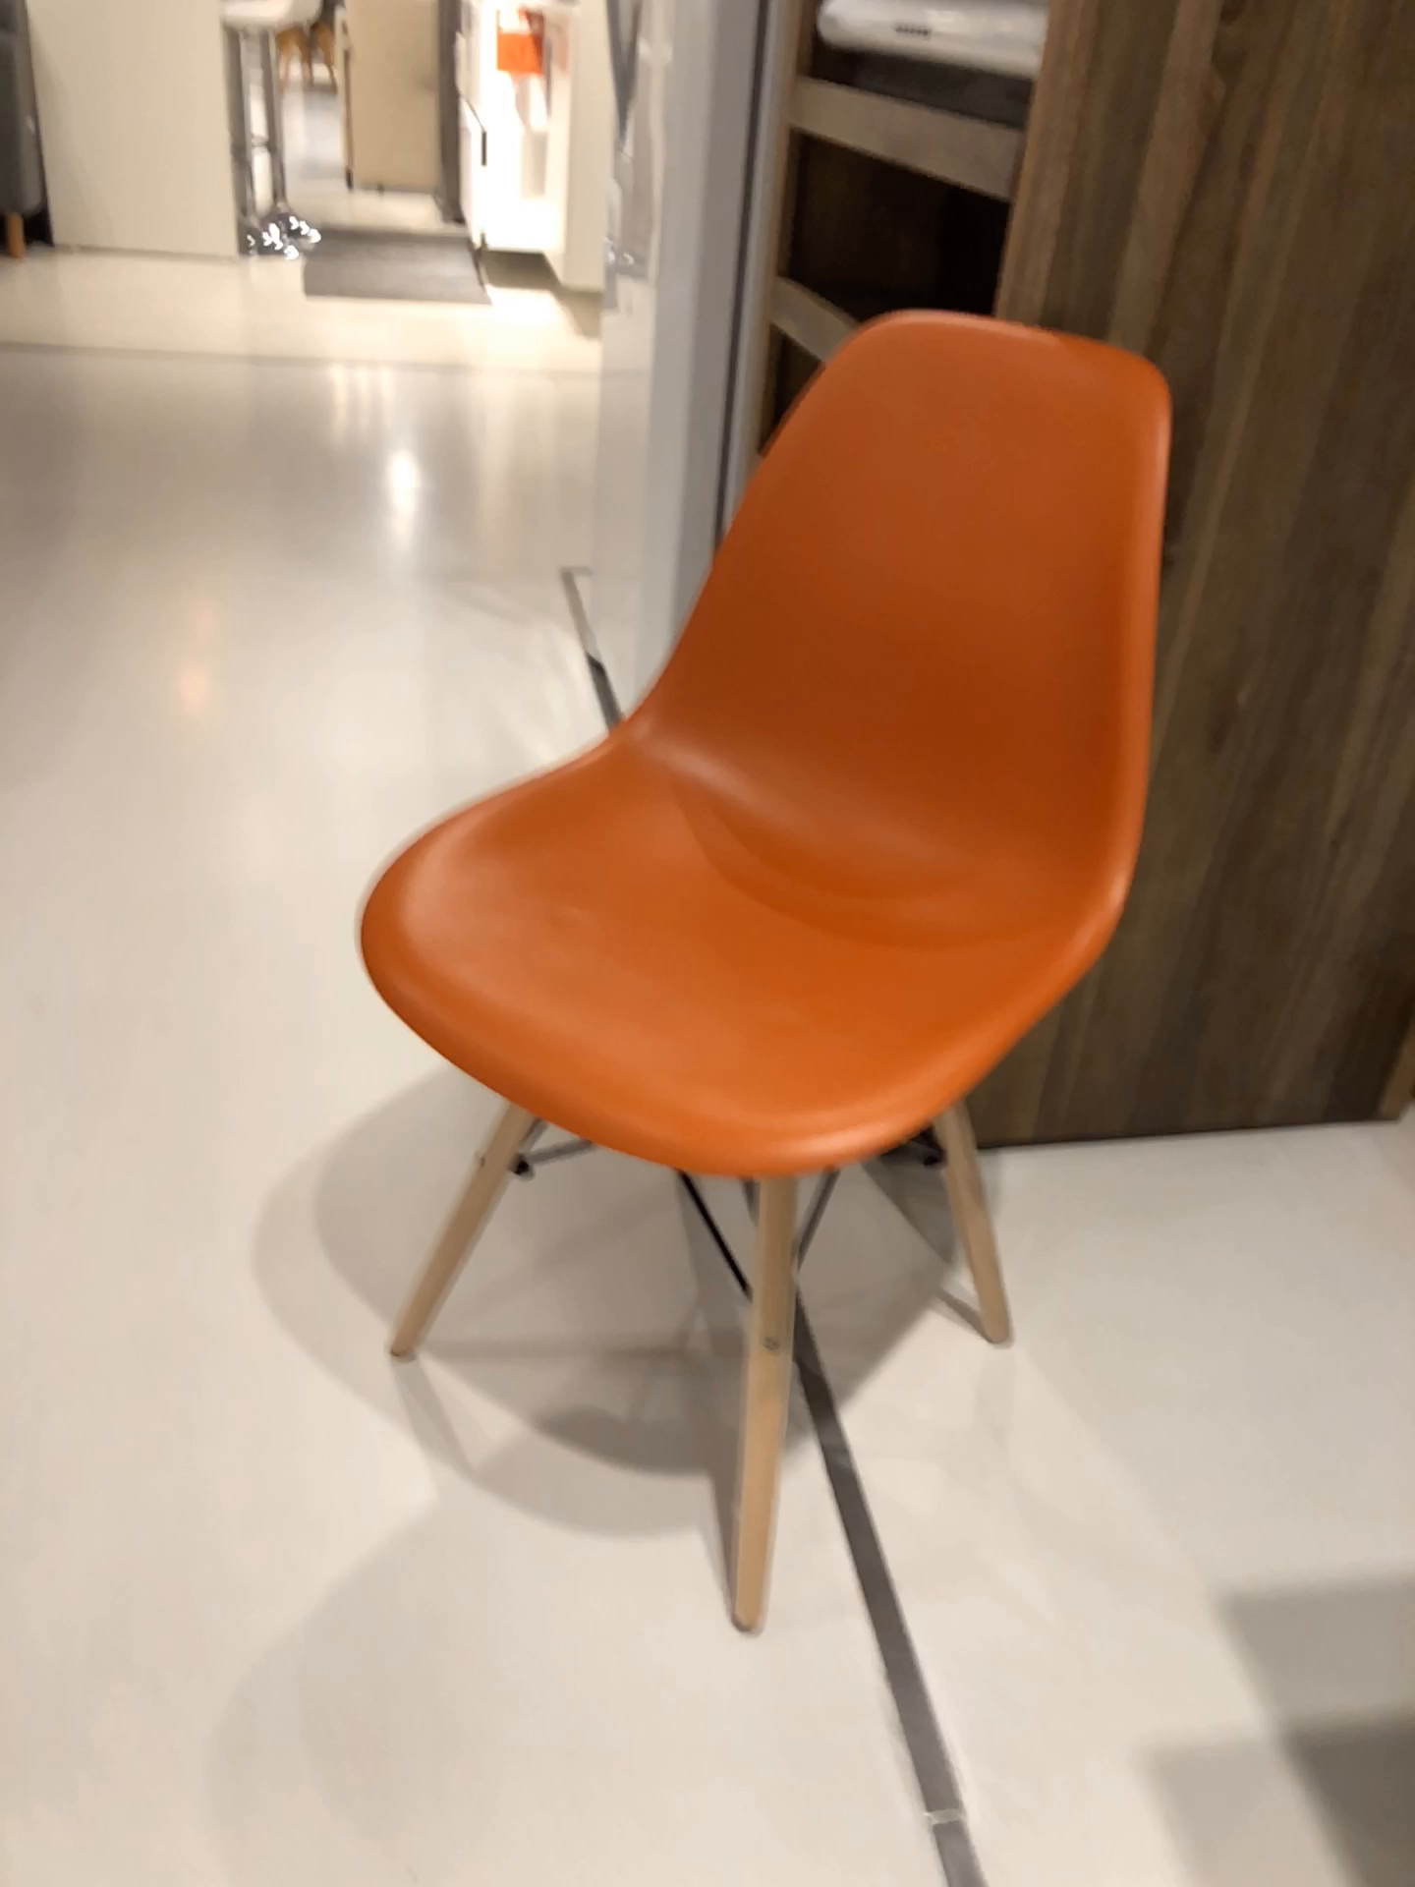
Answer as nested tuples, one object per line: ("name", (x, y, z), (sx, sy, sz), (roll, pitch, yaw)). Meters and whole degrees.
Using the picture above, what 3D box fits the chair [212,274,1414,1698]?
("chair", (0.062, -0.027, 1.144), (0.491, 0.744, 0.584), (27, 37, 30))
